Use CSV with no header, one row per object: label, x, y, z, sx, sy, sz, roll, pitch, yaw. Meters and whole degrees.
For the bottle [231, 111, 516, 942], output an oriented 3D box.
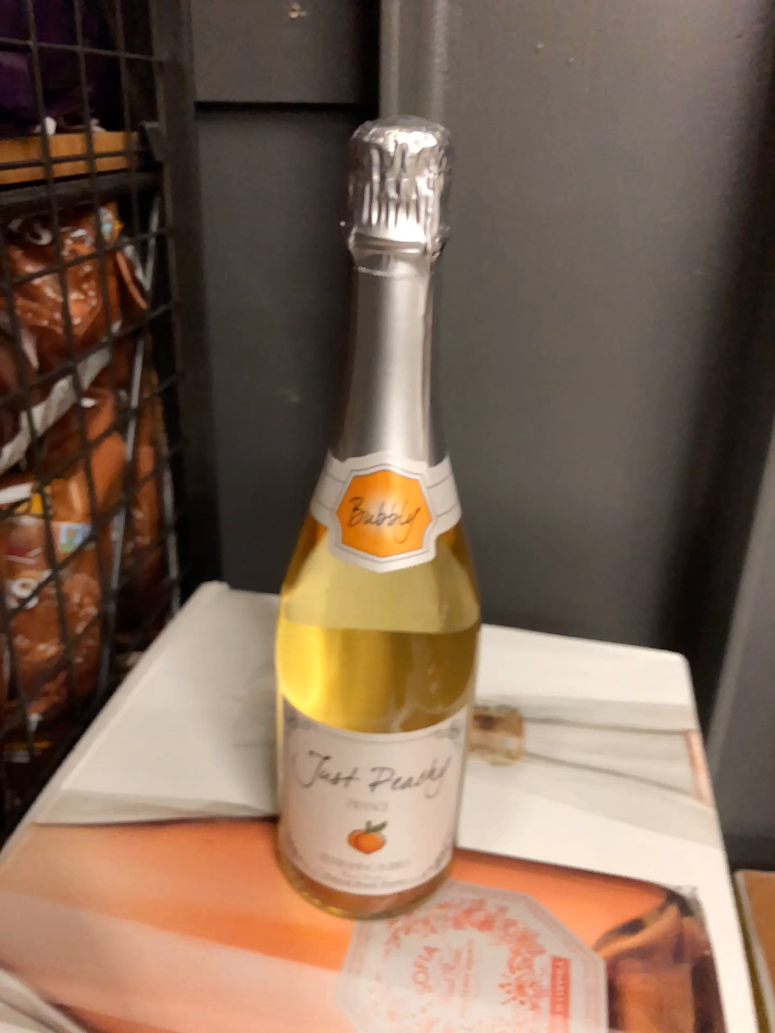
bottle,-0.007,0.017,0.342,0.078,0.319,0.087,1,24,0
